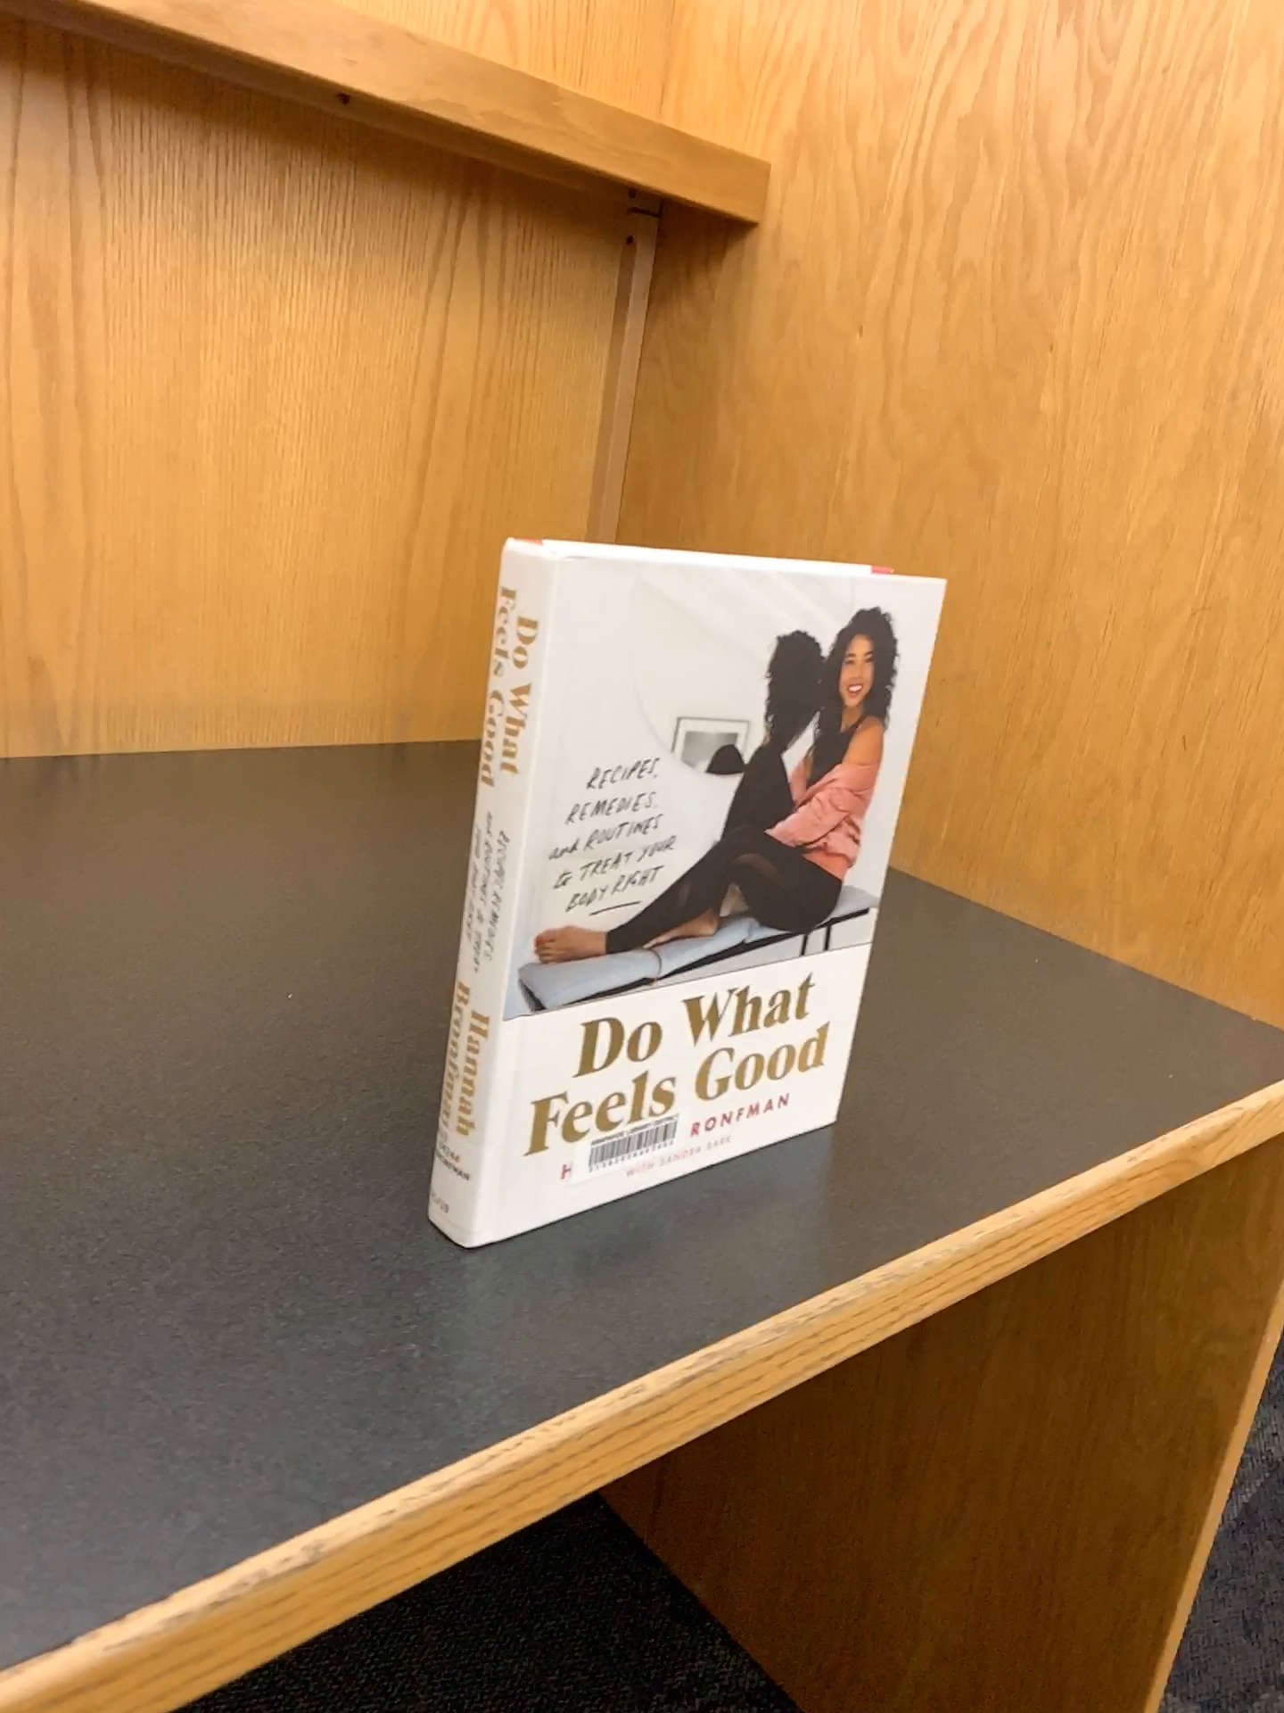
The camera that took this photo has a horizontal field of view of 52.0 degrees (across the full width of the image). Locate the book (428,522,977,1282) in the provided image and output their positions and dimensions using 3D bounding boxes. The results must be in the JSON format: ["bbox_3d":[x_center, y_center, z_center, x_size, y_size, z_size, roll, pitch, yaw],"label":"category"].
[{"bbox_3d":[0.028,0.011,0.494,0.210,0.249,0.030,-8,23,-43],"label":"book"}]
